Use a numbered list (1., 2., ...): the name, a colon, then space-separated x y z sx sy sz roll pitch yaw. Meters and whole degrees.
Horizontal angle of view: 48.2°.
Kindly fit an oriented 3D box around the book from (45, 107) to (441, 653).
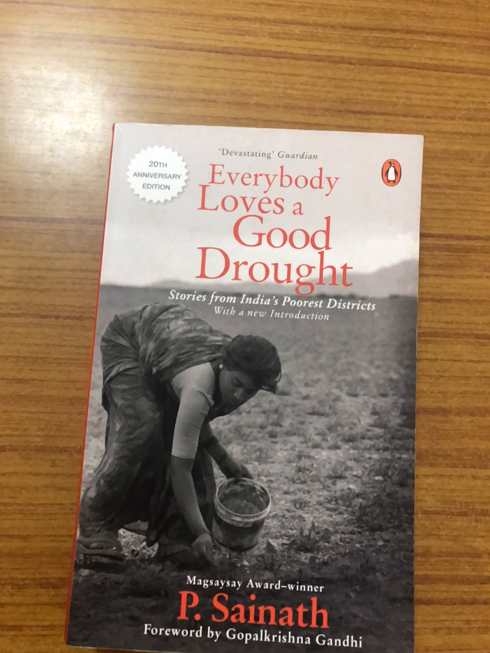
1. book: 0.004 0.023 0.231 0.140 0.040 0.210 4 83 -3
